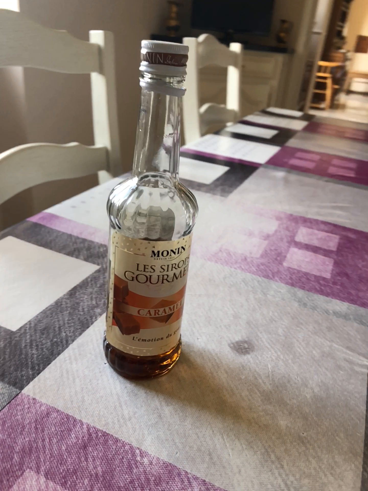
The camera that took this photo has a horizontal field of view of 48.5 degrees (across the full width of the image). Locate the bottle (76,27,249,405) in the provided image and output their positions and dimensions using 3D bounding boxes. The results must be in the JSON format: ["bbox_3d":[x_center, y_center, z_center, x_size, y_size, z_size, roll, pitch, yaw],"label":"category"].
[{"bbox_3d":[-0.023,-0.014,0.287,0.070,0.239,0.070,5,27,-2],"label":"bottle"}]
